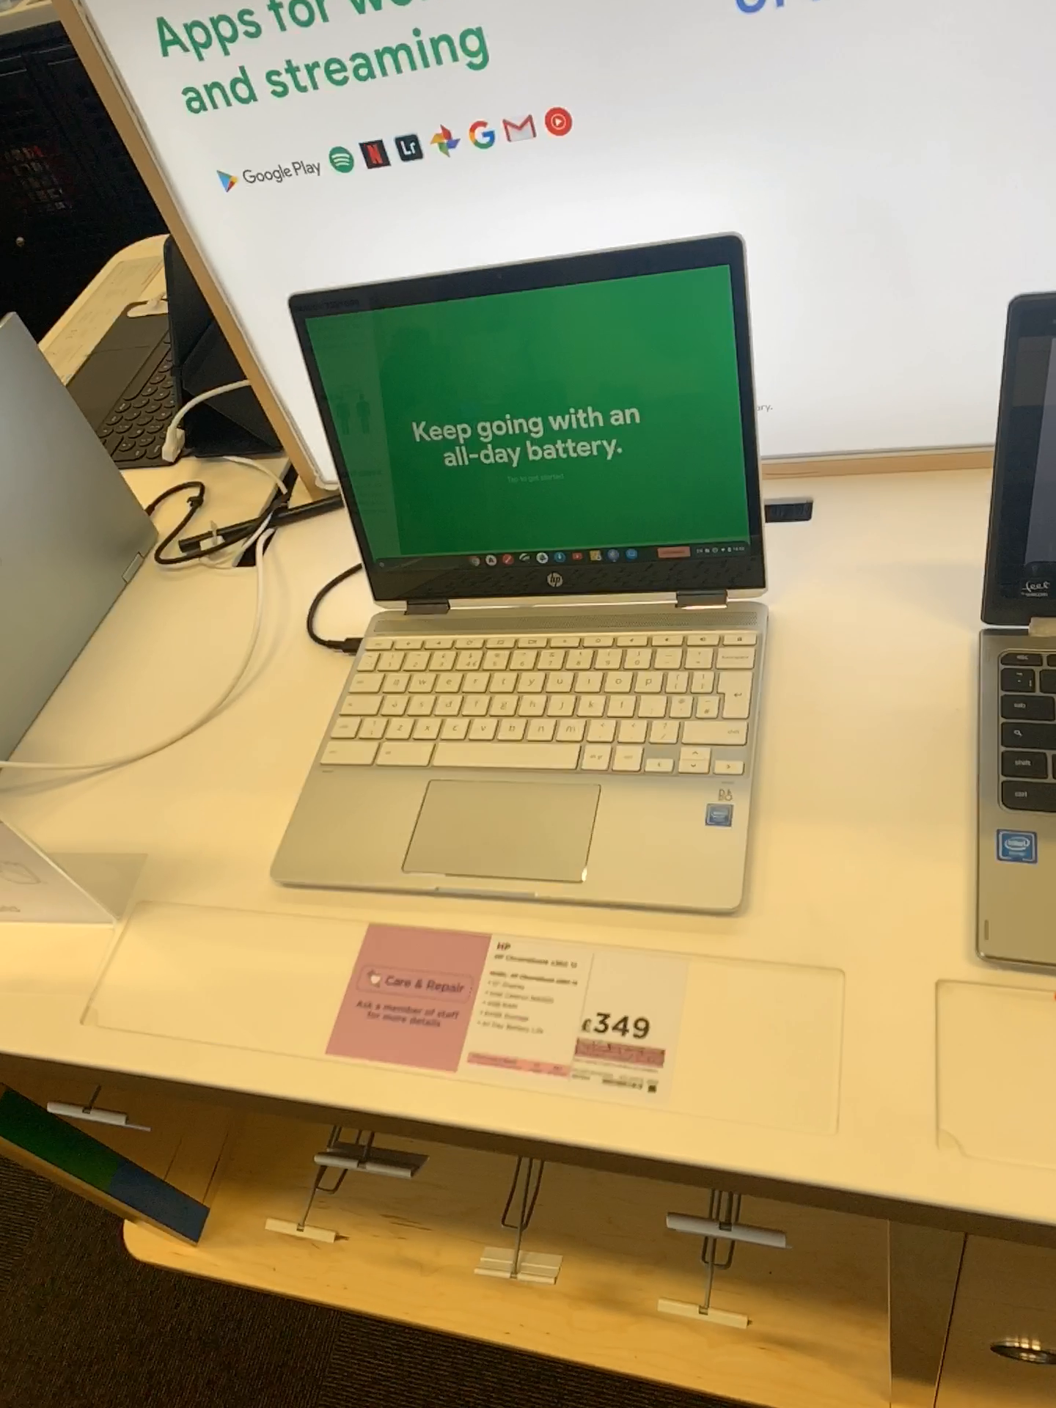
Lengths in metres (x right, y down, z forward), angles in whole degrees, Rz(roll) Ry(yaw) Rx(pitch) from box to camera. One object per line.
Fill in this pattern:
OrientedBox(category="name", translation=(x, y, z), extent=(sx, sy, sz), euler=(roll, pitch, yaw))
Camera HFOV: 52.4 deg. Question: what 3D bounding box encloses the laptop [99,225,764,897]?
OrientedBox(category="laptop", translation=(-0.021, -0.075, 0.582), extent=(0.258, 0.190, 0.271), euler=(0, 53, 20))
